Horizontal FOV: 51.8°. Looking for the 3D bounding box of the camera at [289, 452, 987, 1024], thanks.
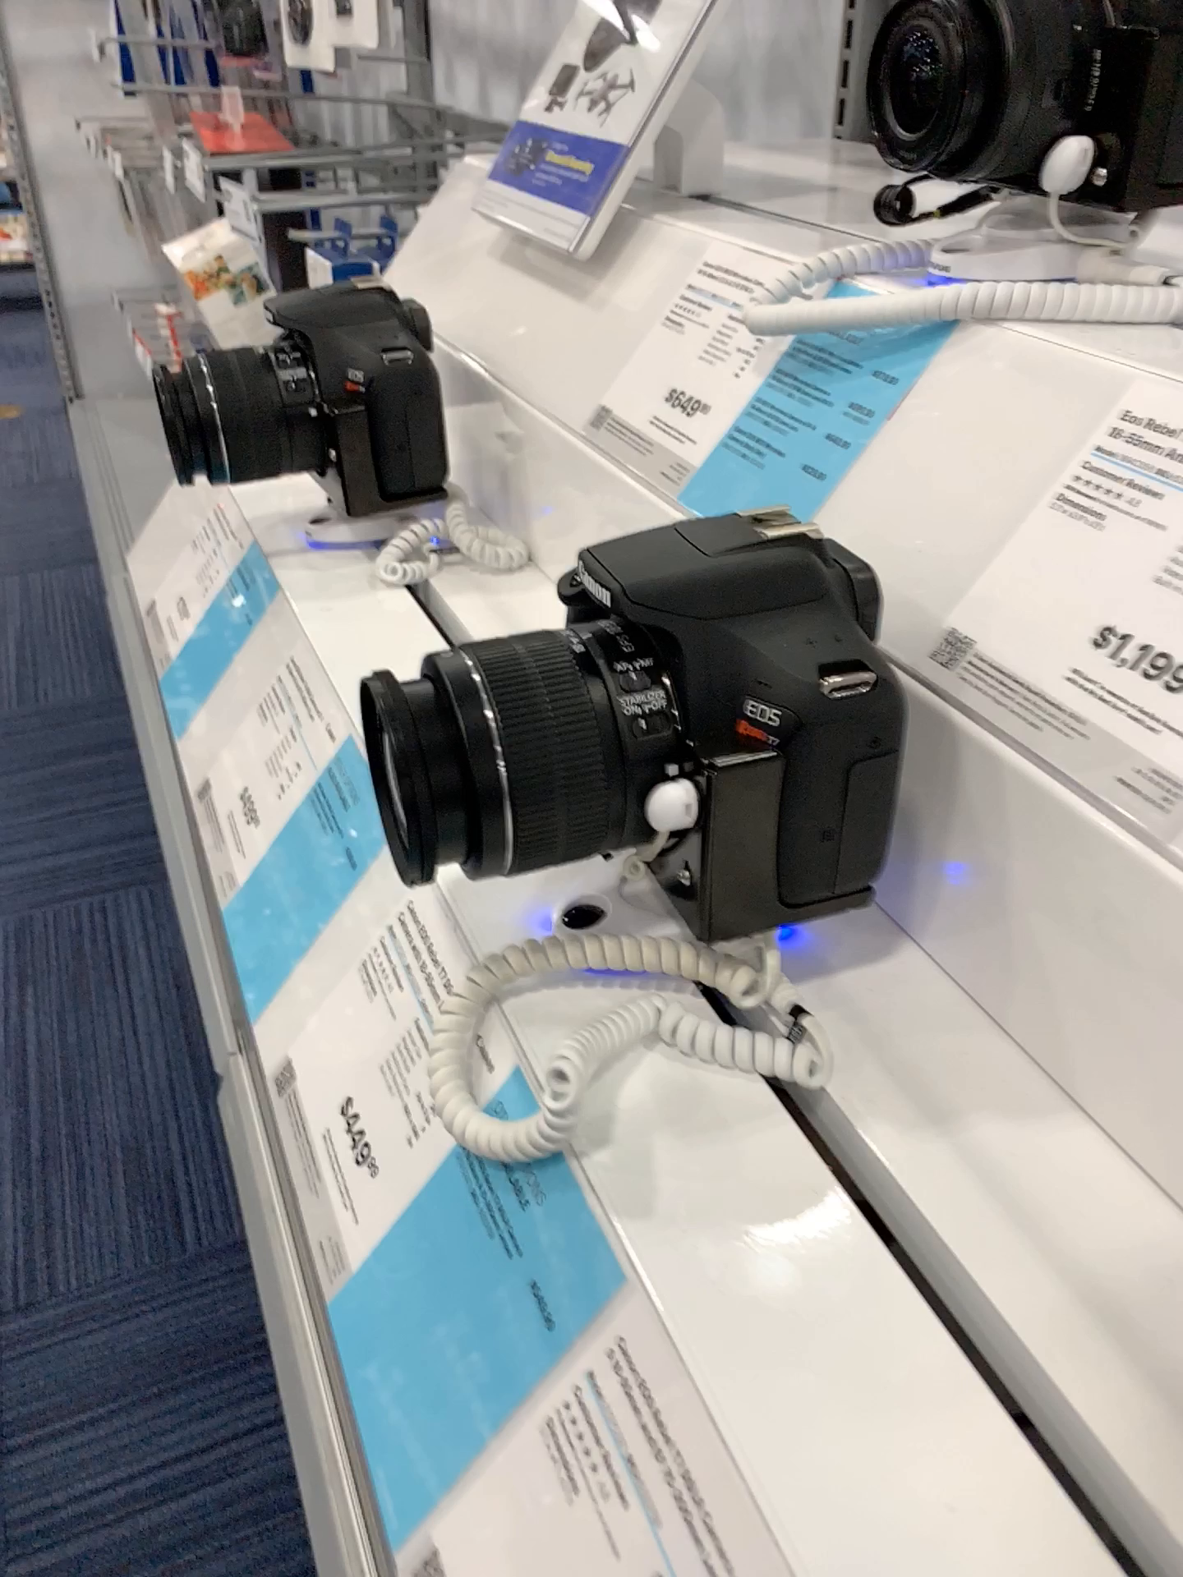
[{"bbox_3d":[0.007,-0.028,0.361,0.150,0.090,0.131,-15,35,-22],"label":"camera"}]
